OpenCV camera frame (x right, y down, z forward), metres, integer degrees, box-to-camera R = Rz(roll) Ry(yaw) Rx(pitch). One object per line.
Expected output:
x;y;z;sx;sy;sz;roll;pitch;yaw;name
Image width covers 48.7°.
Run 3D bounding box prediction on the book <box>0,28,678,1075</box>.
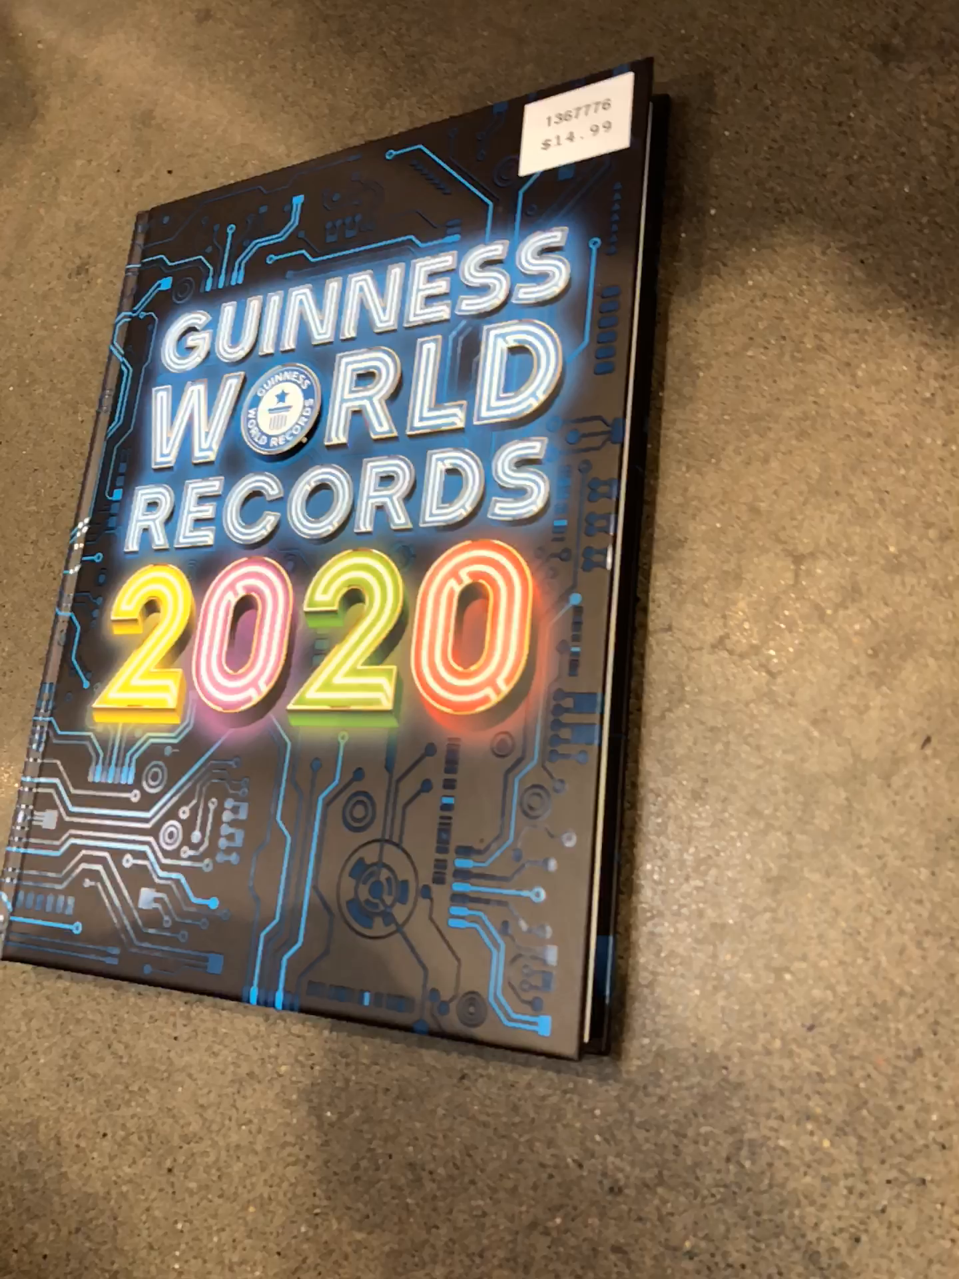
-0.061;-0.036;0.368;0.241;0.030;0.312;-2;74;29;book
